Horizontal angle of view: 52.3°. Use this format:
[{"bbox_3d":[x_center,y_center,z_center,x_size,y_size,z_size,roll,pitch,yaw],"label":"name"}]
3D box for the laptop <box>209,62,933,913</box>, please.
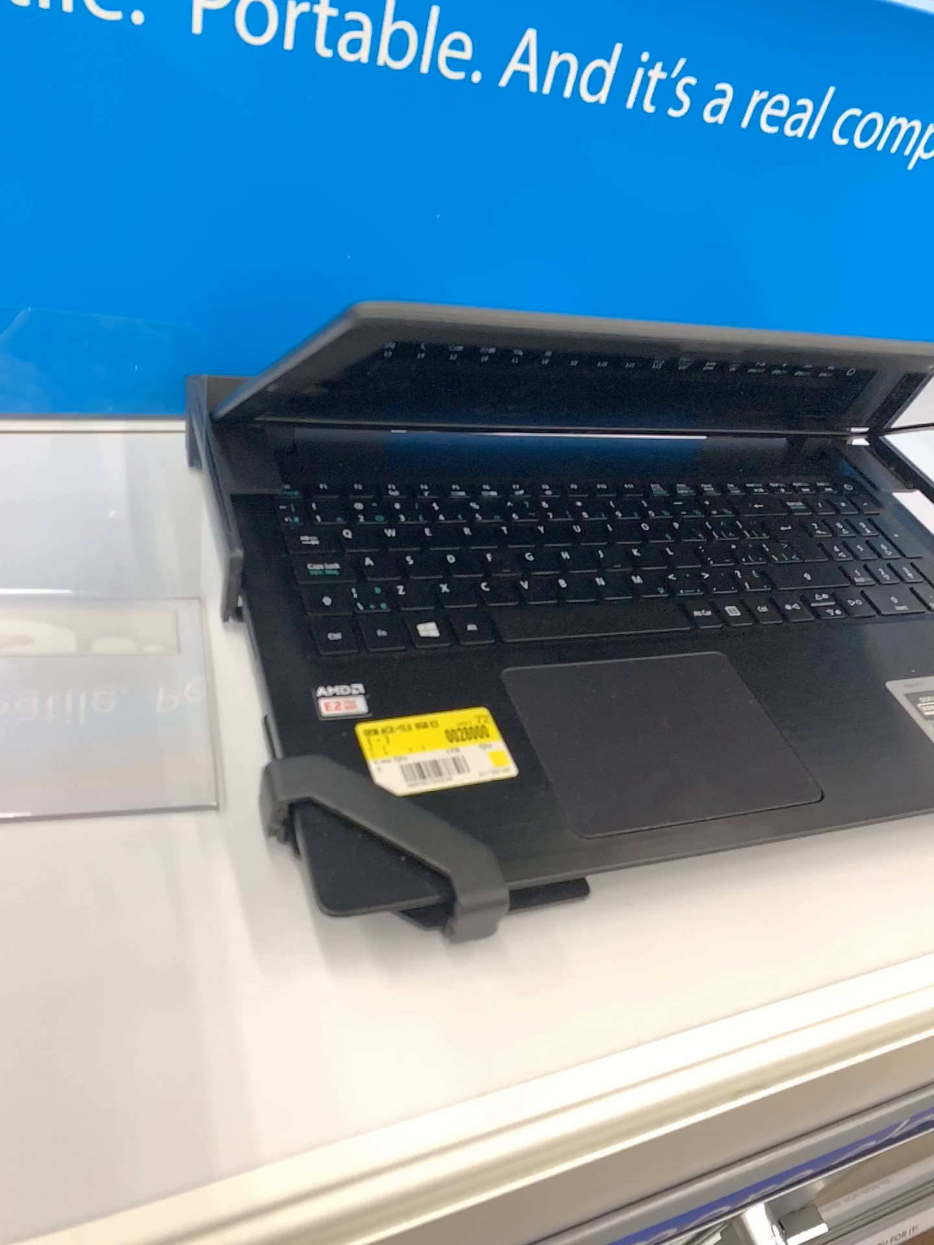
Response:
[{"bbox_3d":[0.107,-0.065,0.368,0.365,0.146,0.234,-4,46,-23],"label":"laptop"}]
